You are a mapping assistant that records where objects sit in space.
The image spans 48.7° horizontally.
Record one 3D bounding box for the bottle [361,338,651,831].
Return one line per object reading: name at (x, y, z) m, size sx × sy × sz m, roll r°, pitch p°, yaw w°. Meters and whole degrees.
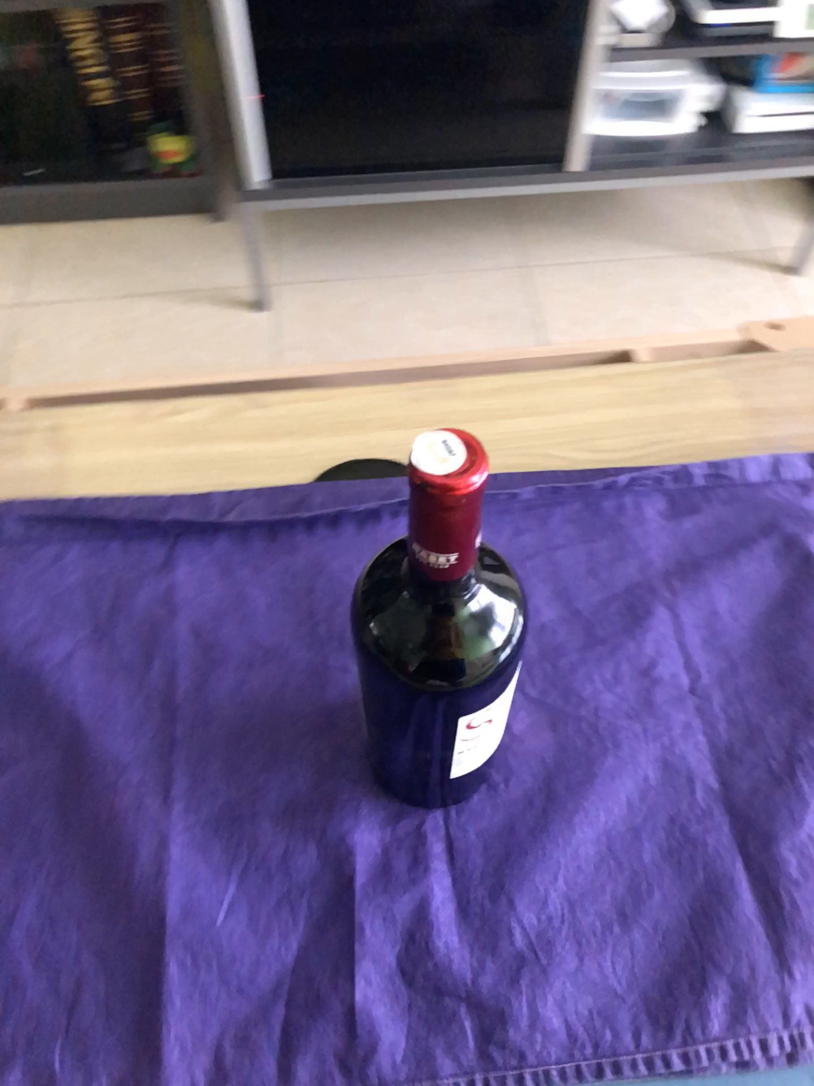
bottle at (0.037, 0.042, 0.415) m, size 0.090 × 0.269 × 0.090 m, roll 0°, pitch 56°, yaw 0°
